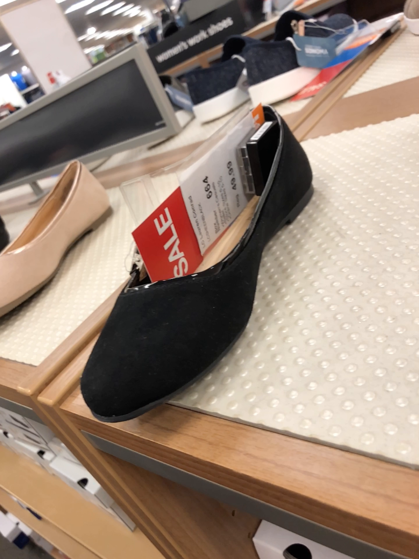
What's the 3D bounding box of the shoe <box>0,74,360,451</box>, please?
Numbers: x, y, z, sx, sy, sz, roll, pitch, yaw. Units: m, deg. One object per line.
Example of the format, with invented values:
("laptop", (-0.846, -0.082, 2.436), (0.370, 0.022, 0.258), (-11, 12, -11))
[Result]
("shoe", (0.003, -0.030, 0.267), (0.091, 0.064, 0.239), (-7, 34, 38))
